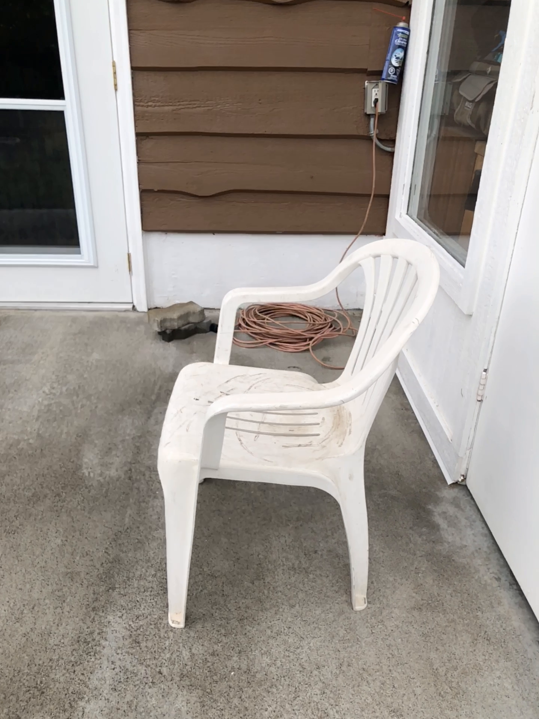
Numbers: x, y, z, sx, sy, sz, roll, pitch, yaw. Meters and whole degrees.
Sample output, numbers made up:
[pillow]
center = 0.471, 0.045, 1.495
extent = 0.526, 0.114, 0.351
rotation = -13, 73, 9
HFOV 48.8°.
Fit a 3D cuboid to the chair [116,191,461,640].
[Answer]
[chair]
center = 0.020, 0.086, 1.318
extent = 0.510, 0.777, 0.602
rotation = 1, 26, 0
